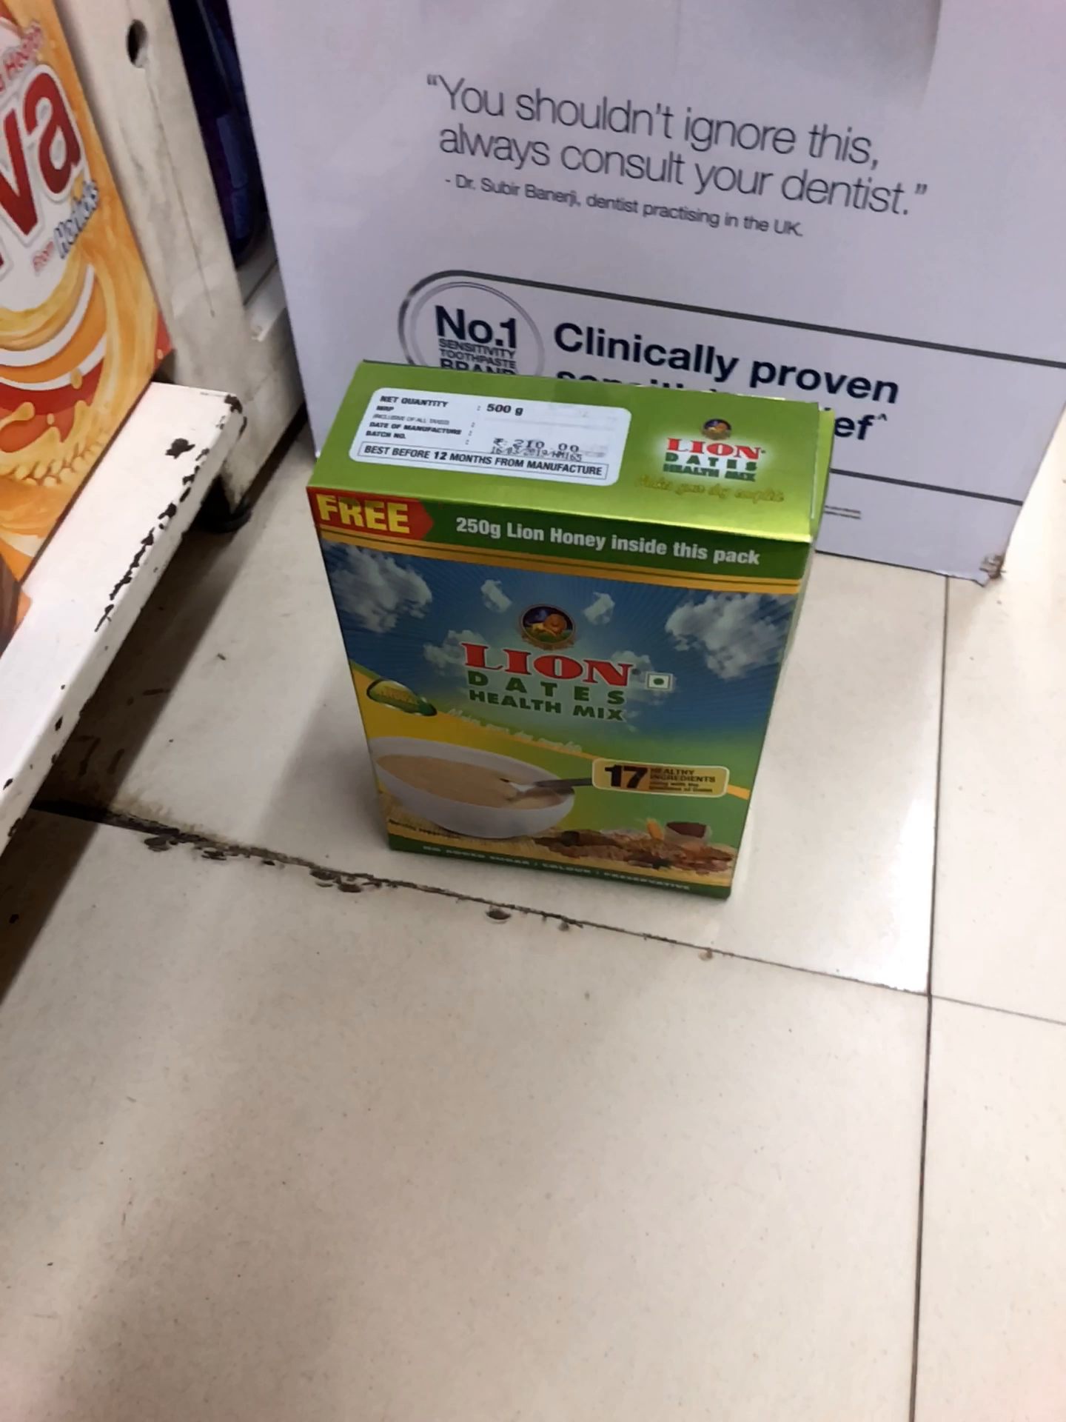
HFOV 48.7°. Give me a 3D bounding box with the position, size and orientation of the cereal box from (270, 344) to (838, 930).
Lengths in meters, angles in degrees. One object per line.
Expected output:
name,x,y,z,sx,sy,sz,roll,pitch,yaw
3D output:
cereal box,0.011,-0.014,0.382,0.140,0.179,0.070,8,52,8
